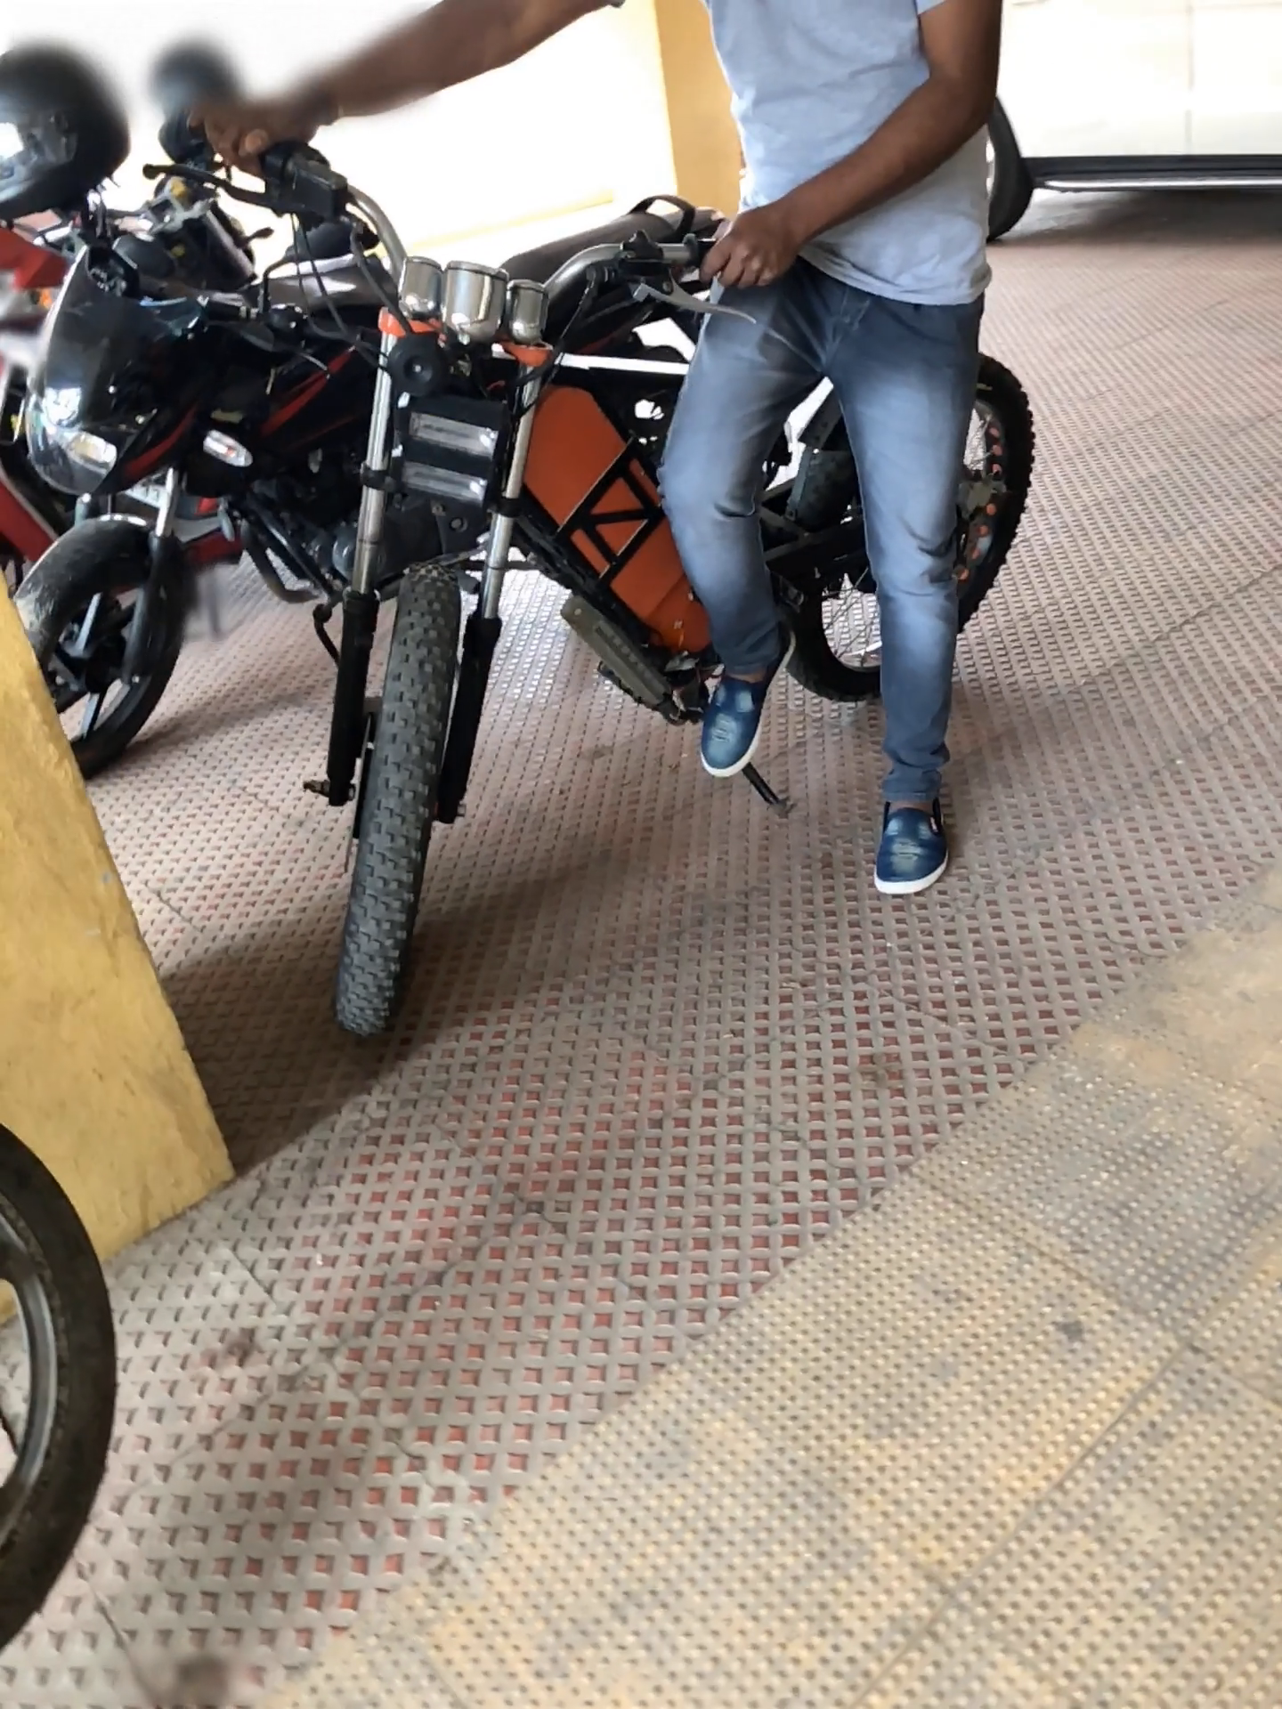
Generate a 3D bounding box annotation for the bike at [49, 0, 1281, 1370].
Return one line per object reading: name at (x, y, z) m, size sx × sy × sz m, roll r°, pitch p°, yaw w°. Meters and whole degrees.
bike at (0.227, -0.465, 2.139) m, size 0.755 × 1.184 × 1.756 m, roll 20°, pitch 45°, yaw 40°
